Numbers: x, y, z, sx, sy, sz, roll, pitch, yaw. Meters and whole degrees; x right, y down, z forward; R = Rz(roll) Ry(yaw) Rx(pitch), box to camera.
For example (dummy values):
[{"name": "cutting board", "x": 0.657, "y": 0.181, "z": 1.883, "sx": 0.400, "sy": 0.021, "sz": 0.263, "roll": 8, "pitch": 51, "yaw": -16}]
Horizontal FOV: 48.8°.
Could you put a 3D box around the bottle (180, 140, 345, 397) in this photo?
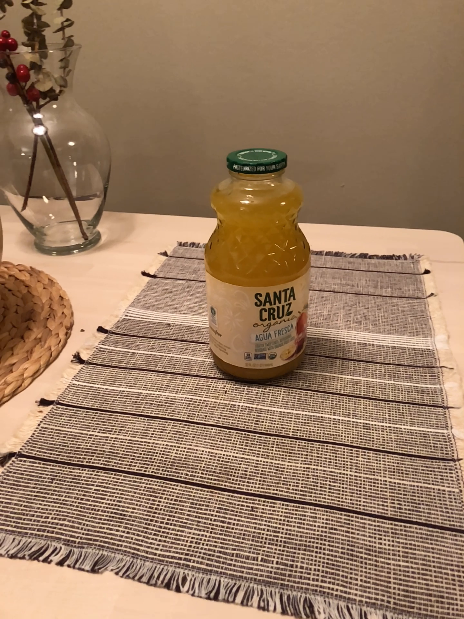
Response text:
[{"name": "bottle", "x": 0.023, "y": -0.039, "z": 0.455, "sx": 0.100, "sy": 0.189, "sz": 0.100, "roll": -2, "pitch": 30, "yaw": 1}]
